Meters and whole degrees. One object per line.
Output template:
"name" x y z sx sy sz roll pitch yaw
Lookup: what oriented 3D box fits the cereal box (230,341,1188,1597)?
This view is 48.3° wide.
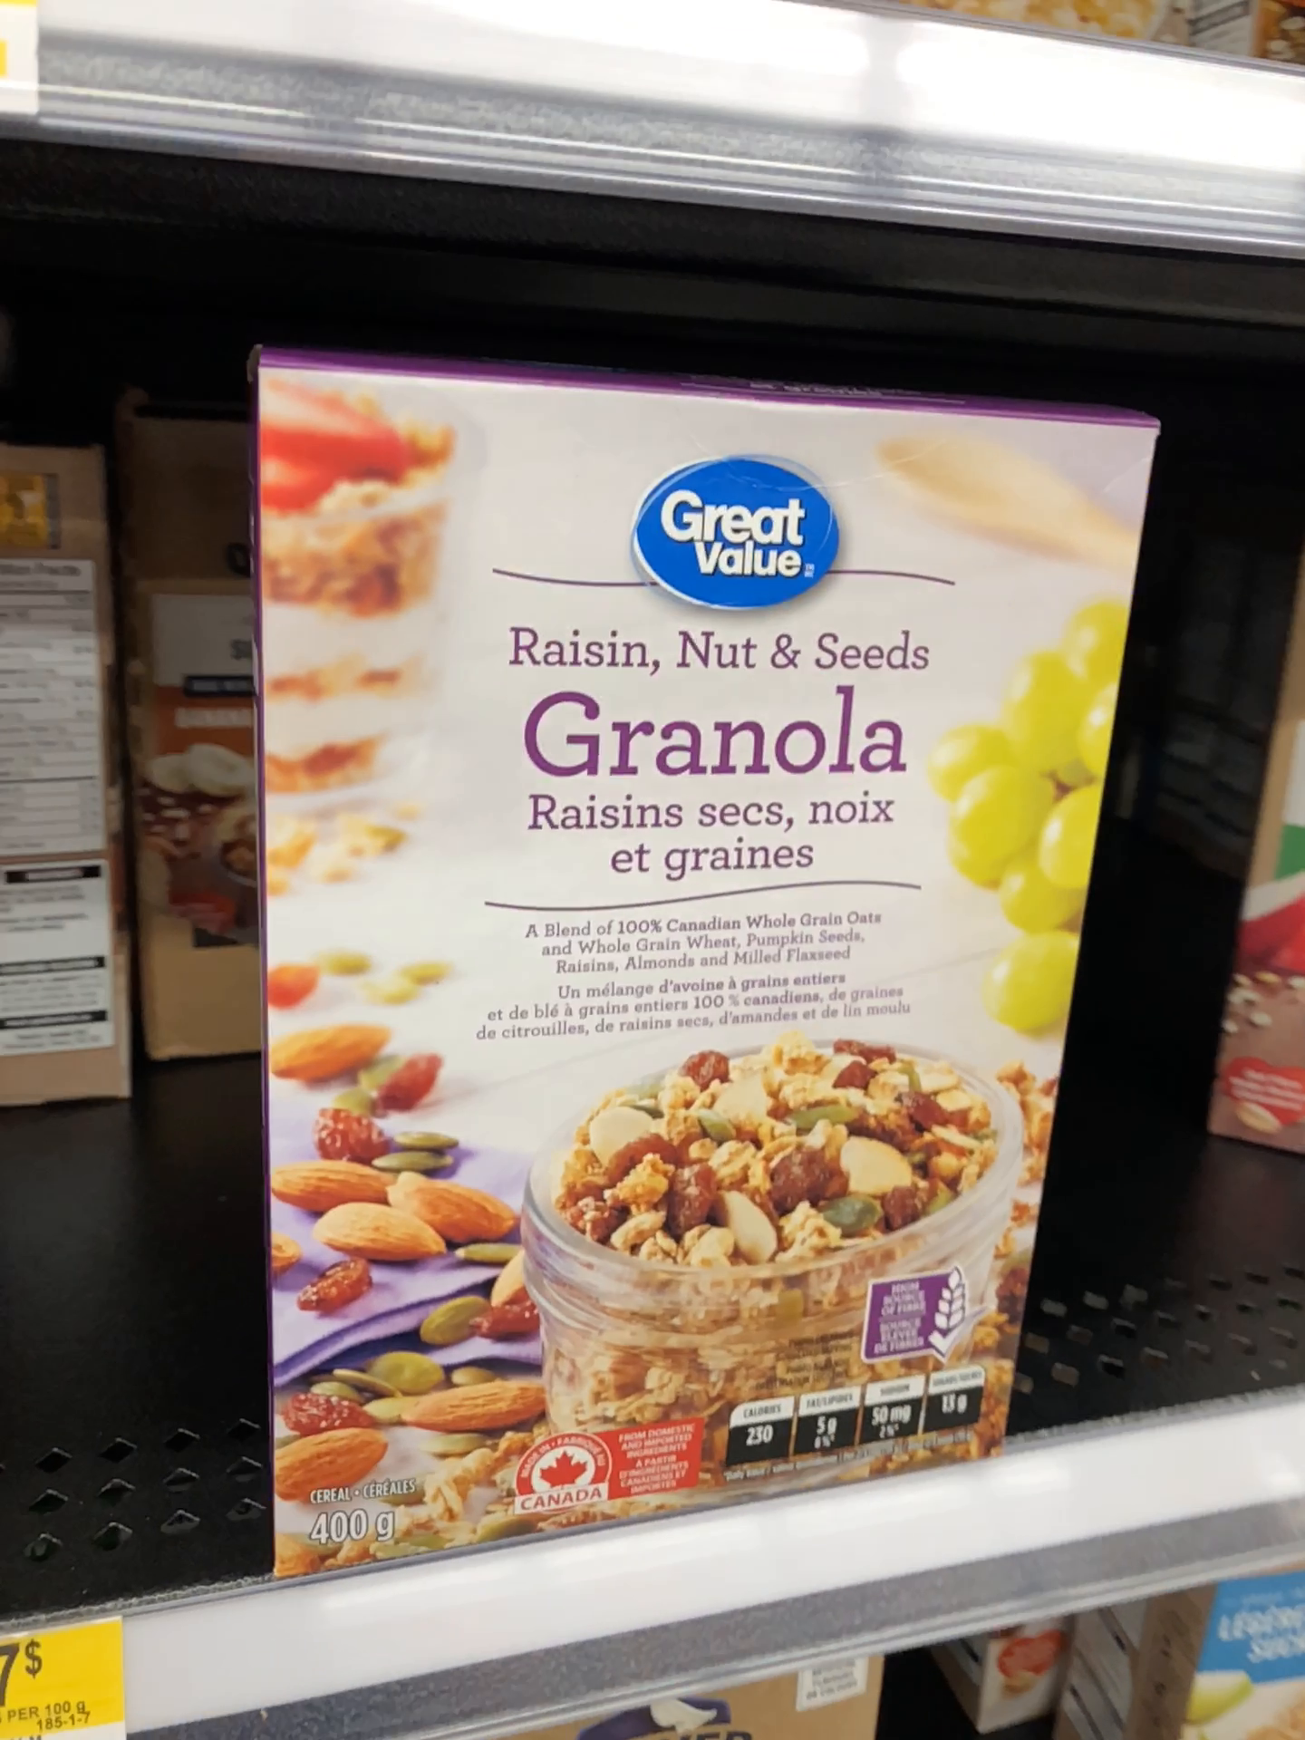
"cereal box" 0.003 0.017 0.289 0.160 0.219 0.060 -2 17 -17
